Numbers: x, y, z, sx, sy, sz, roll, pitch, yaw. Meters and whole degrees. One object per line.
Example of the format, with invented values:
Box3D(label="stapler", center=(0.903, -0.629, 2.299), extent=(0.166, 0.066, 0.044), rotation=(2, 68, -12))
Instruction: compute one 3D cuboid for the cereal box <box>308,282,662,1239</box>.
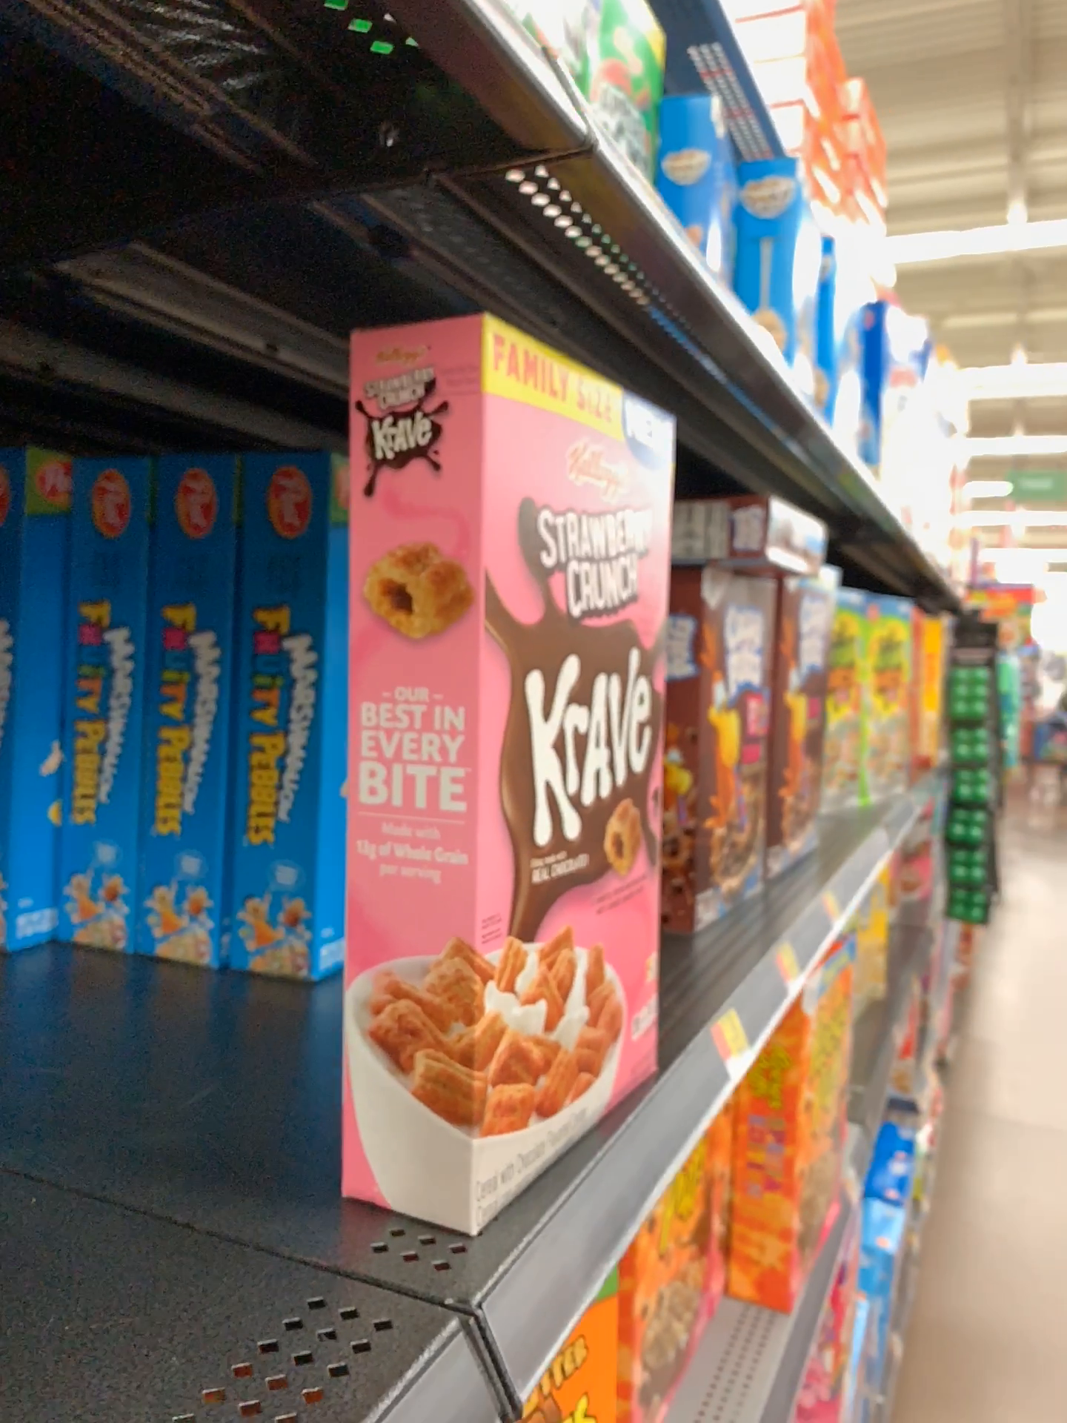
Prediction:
Box3D(label="cereal box", center=(-0.010, 0.015, 0.486), extent=(0.060, 0.330, 0.200), rotation=(2, 2, 26))
